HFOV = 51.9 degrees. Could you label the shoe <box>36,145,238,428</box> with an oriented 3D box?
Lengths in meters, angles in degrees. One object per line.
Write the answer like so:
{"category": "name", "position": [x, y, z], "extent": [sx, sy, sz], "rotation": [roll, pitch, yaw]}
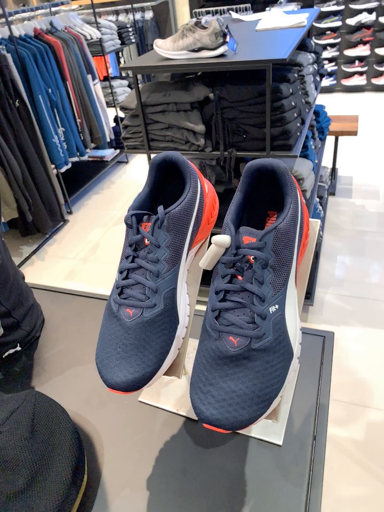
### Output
{"category": "shoe", "position": [-0.035, 0.017, 0.381], "extent": [0.100, 0.079, 0.252], "rotation": [7, 64, 20]}

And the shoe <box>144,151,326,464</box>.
{"category": "shoe", "position": [0.057, 0.036, 0.369], "extent": [0.100, 0.099, 0.262], "rotation": [7, 64, 20]}
